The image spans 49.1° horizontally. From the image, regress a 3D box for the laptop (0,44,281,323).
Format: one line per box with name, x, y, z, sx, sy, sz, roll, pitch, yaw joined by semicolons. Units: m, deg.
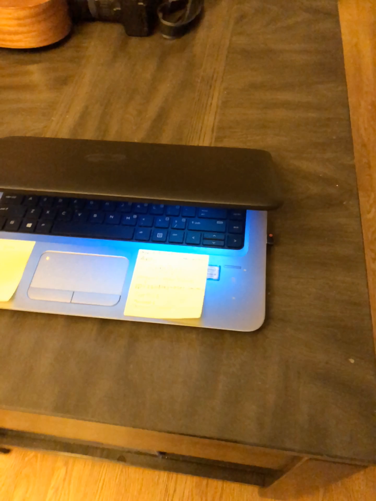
laptop;-0.079;-0.074;0.414;0.323;0.131;0.226;5;56;5
